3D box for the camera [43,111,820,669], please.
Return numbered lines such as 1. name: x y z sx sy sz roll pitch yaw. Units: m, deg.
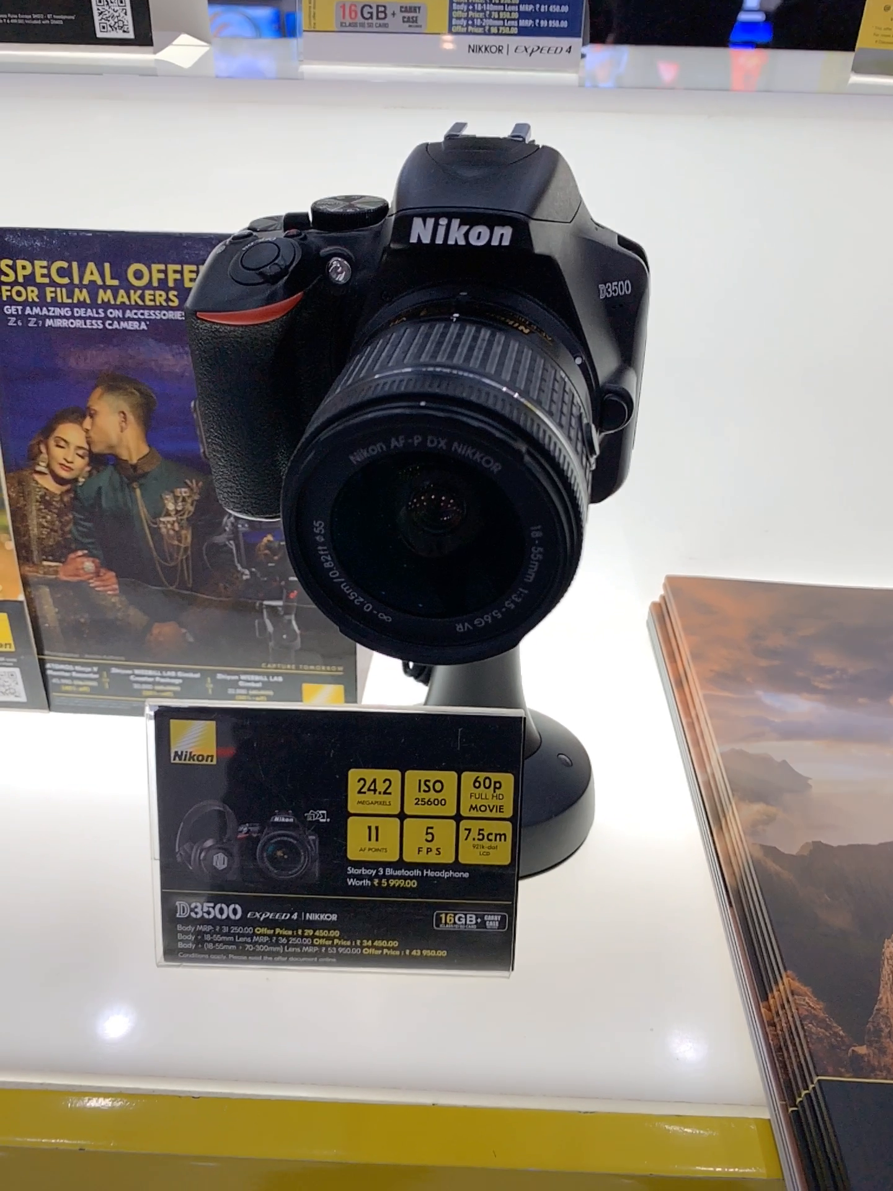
1. camera: 0.005 -0.062 0.211 0.110 0.070 0.151 5 33 6
